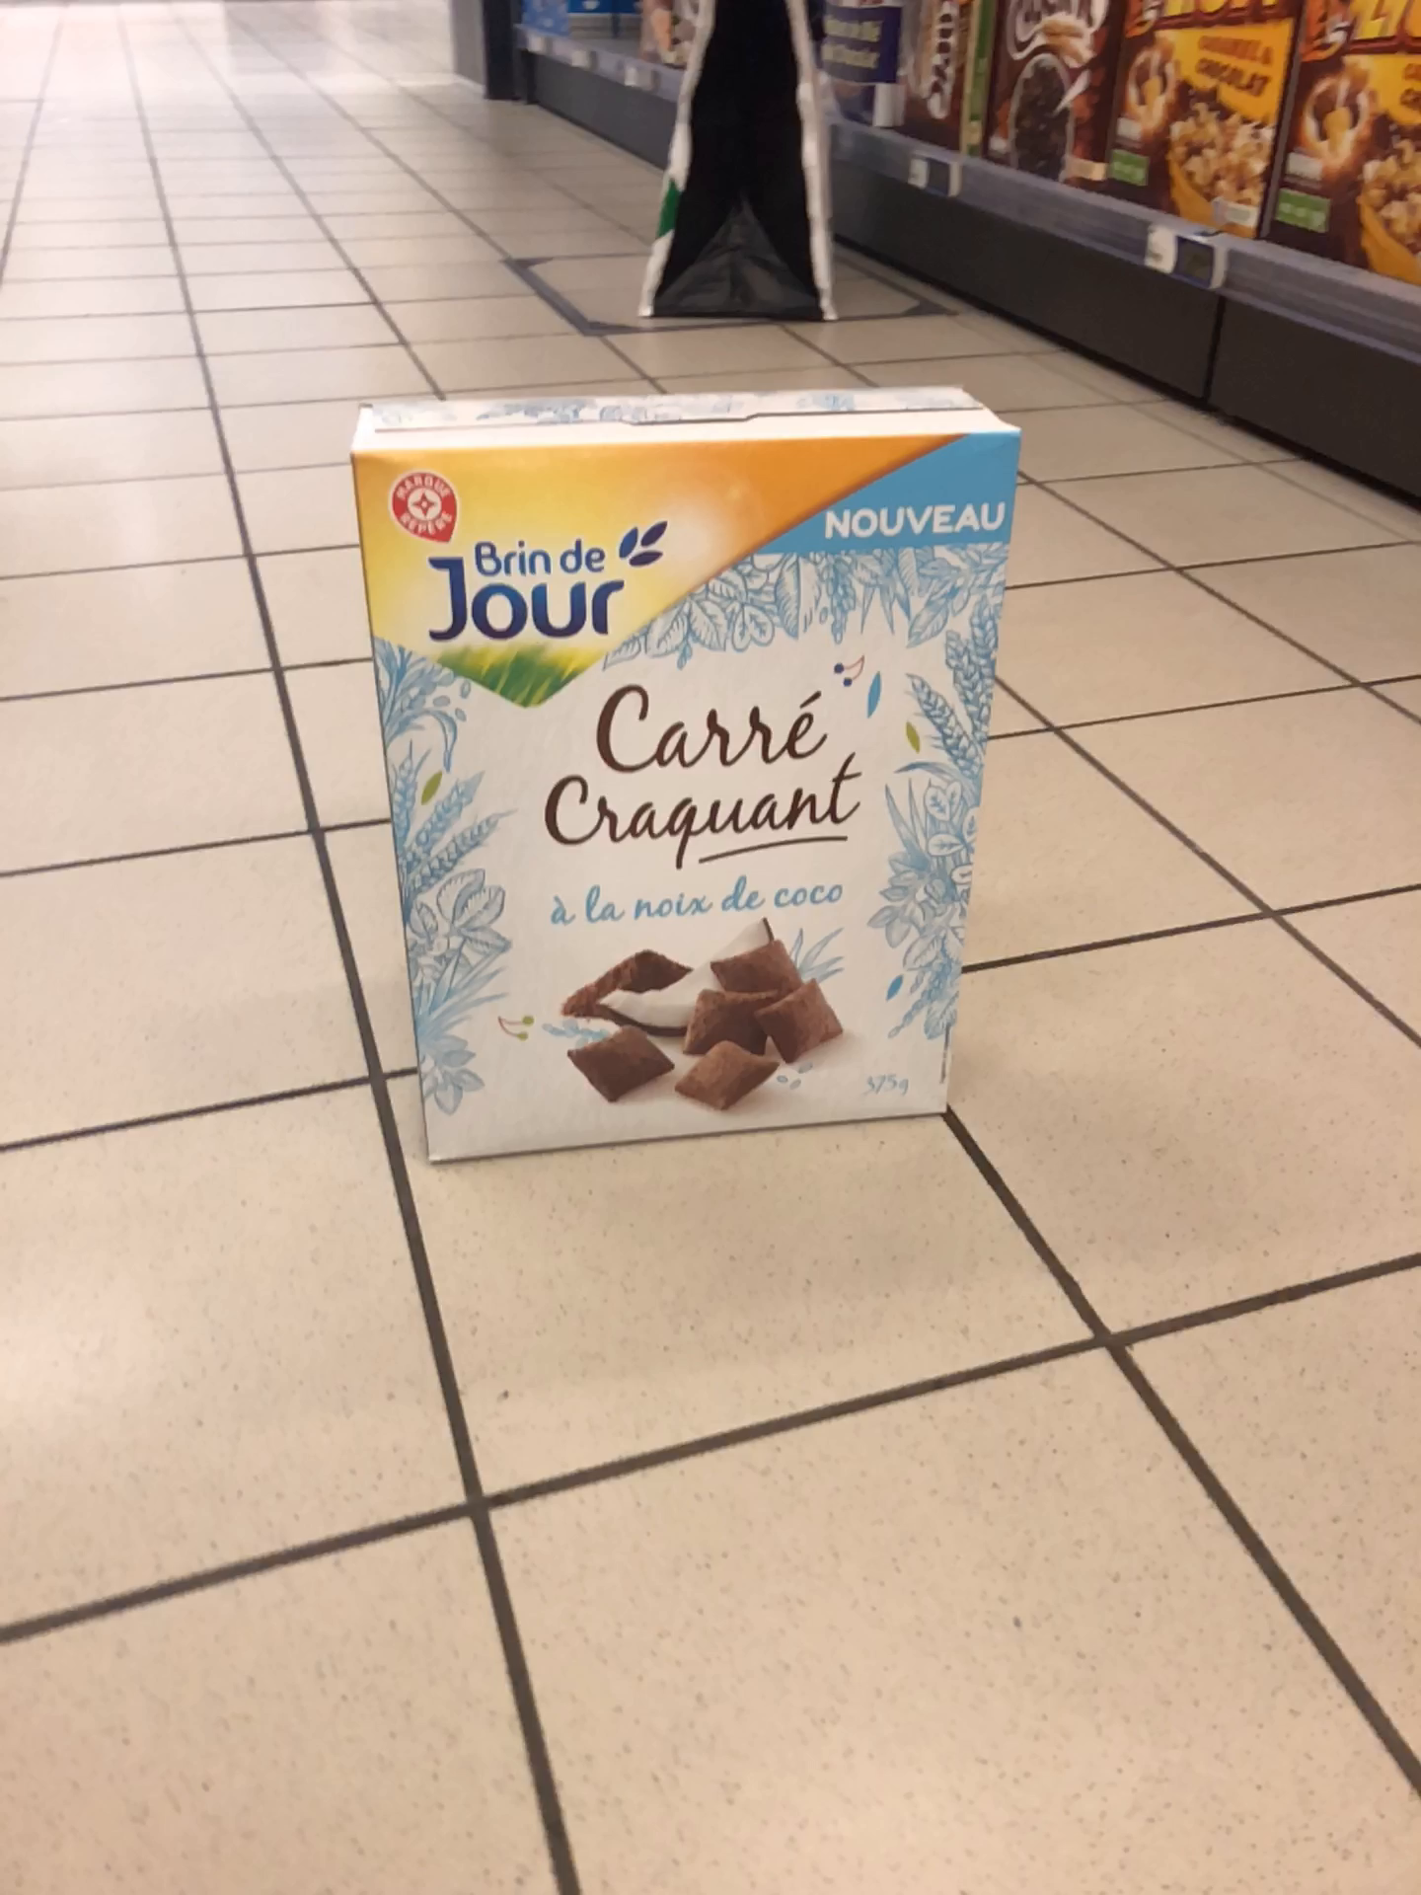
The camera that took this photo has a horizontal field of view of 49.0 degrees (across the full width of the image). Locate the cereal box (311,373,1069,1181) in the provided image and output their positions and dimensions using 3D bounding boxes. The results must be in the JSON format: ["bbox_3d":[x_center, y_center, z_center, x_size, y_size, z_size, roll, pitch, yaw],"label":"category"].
[{"bbox_3d":[-0.006,-0.049,0.501,0.200,0.239,0.070,-4,32,-6],"label":"cereal box"}]
